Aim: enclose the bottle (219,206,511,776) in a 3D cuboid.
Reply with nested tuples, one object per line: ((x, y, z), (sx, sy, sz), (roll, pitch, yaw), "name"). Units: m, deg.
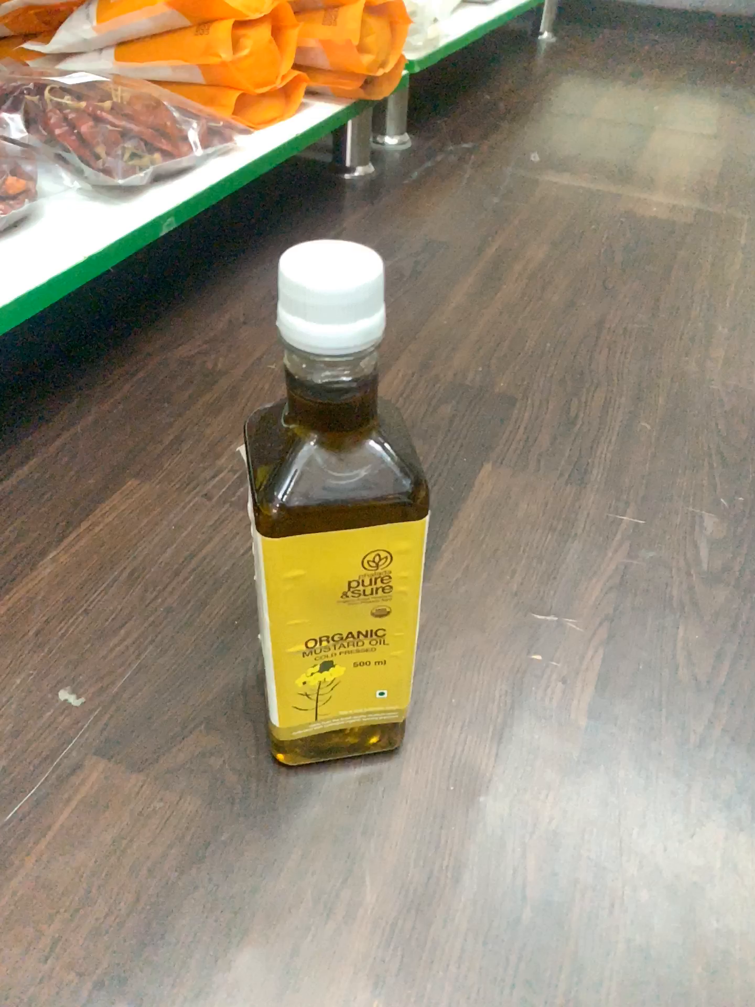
((-0.011, 0.010, 0.281), (0.070, 0.209, 0.060), (-6, 41, -10), "bottle")
